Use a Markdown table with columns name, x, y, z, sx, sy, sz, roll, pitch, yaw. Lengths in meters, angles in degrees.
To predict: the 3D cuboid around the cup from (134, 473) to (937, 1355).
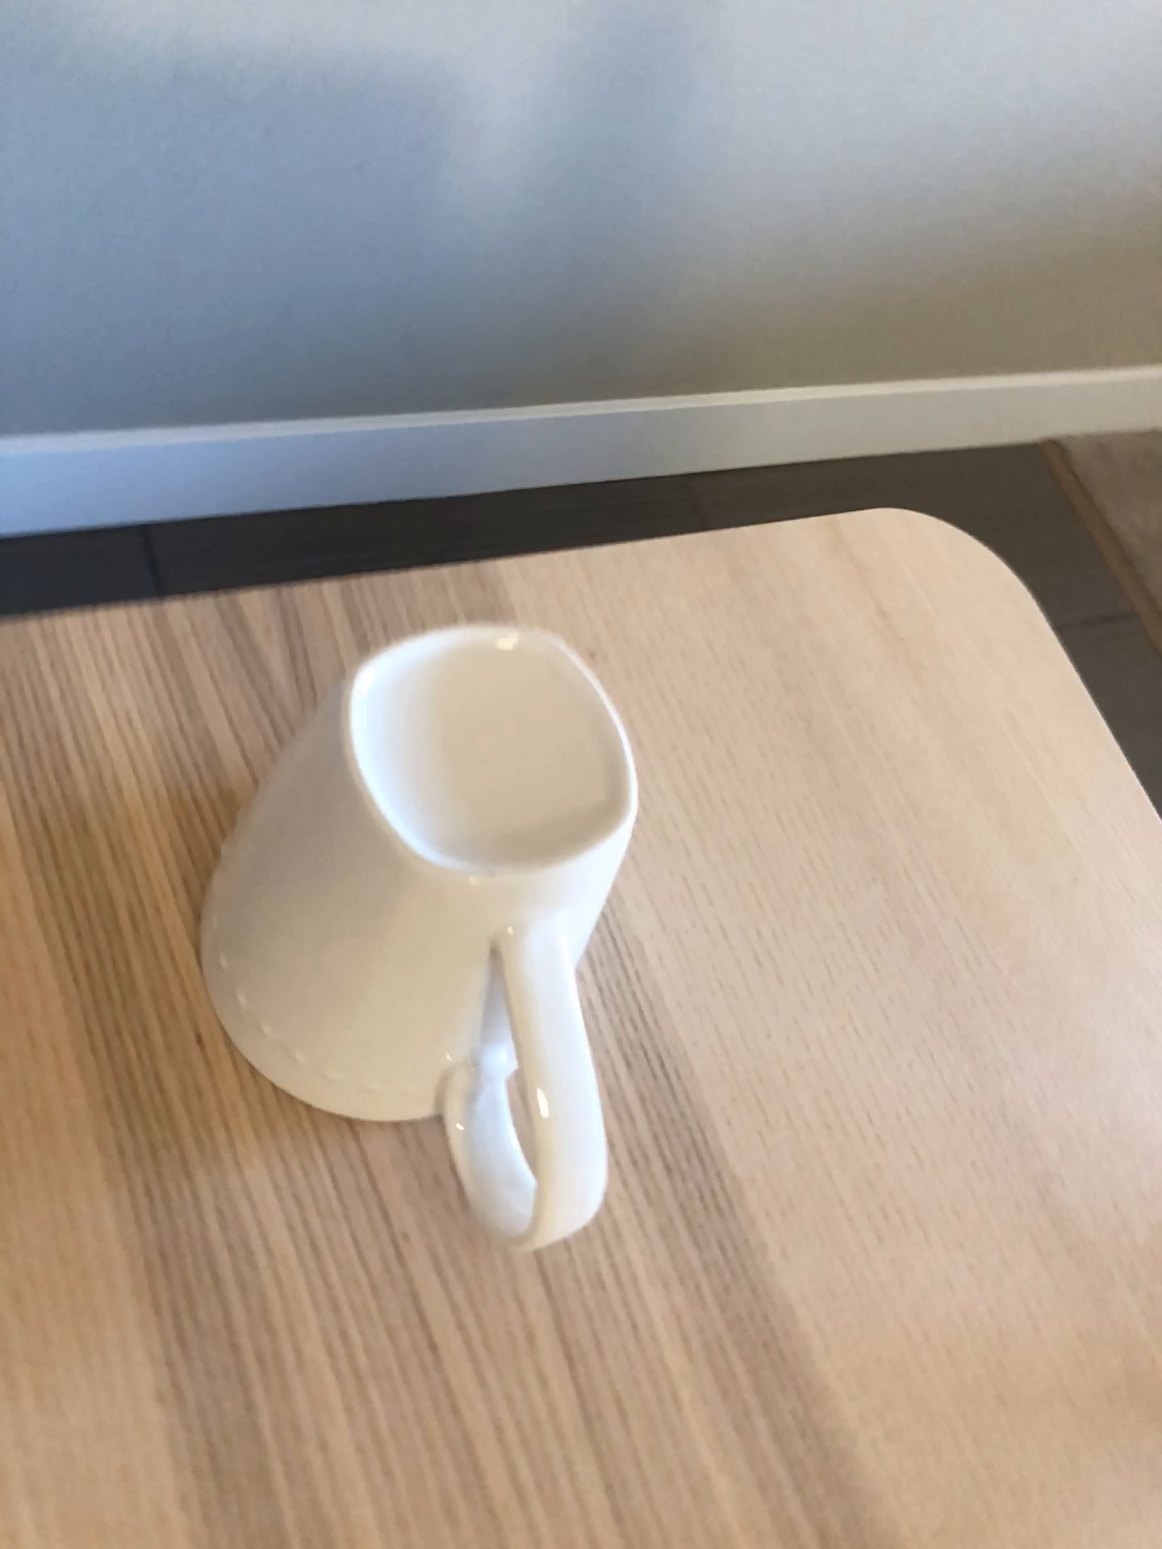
| name | x | y | z | sx | sy | sz | roll | pitch | yaw |
| --- | --- | --- | --- | --- | --- | --- | --- | --- | --- |
| cup | -0.025 | 0.033 | 0.292 | 0.100 | 0.120 | 0.140 | -17 | 70 | -29 |
